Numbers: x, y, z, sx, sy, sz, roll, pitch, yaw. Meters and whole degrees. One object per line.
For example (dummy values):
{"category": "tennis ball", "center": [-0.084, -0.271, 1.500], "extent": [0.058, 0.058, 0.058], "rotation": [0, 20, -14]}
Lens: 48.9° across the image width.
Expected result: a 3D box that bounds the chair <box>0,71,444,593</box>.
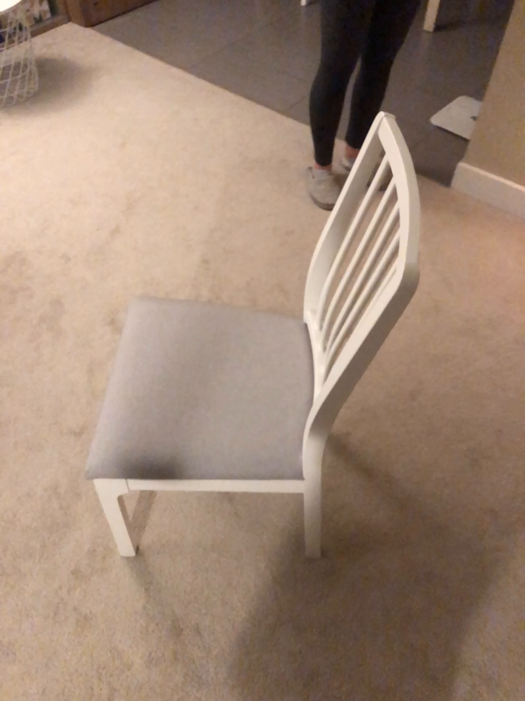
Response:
{"category": "chair", "center": [-0.071, 0.050, 1.118], "extent": [0.550, 0.906, 0.502], "rotation": [4, 52, 2]}
